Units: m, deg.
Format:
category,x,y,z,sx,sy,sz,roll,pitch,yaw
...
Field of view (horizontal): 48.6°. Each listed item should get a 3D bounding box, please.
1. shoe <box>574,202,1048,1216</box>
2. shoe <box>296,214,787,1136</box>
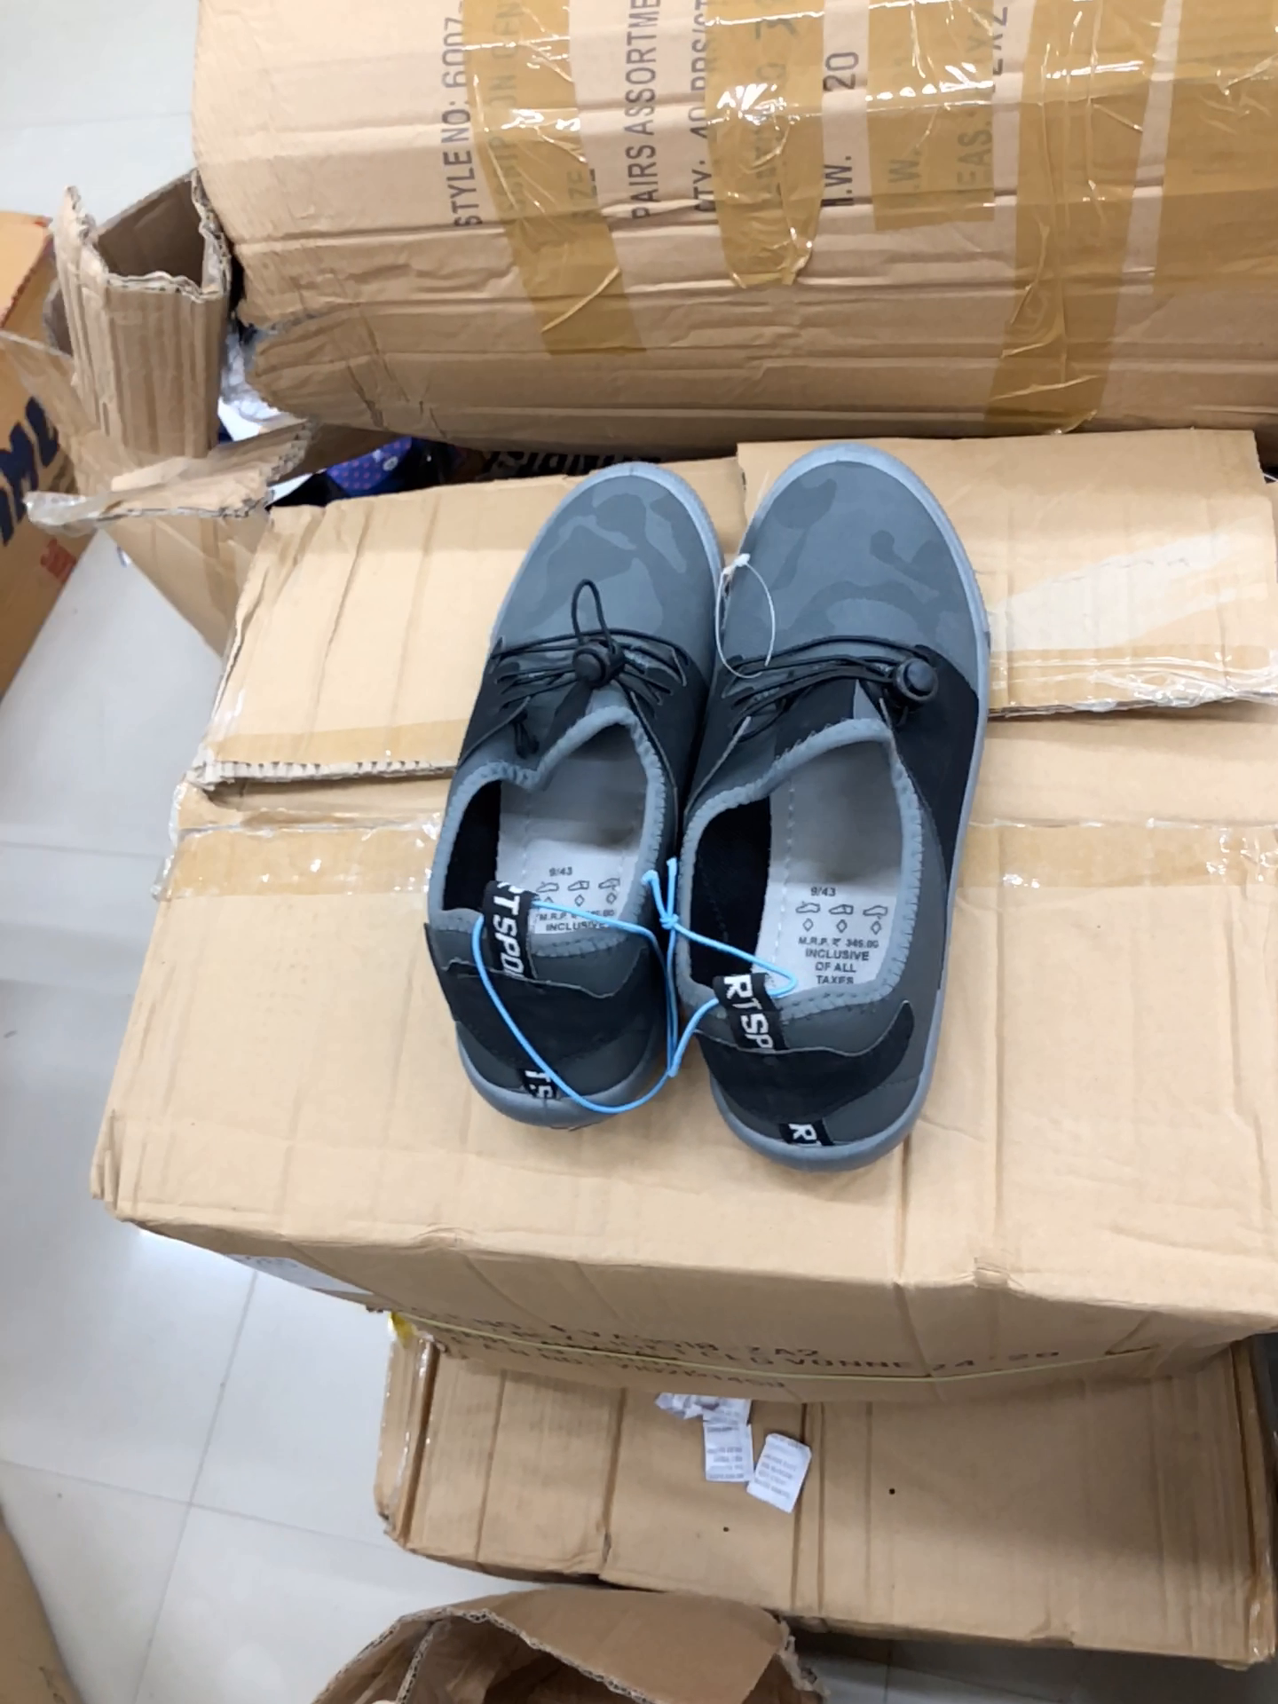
category,x,y,z,sx,sy,sz,roll,pitch,yaw
shoe,0.073,-0.050,0.468,0.110,0.130,0.301,2,65,15
shoe,-0.016,-0.063,0.527,0.110,0.150,0.301,-1,64,14
